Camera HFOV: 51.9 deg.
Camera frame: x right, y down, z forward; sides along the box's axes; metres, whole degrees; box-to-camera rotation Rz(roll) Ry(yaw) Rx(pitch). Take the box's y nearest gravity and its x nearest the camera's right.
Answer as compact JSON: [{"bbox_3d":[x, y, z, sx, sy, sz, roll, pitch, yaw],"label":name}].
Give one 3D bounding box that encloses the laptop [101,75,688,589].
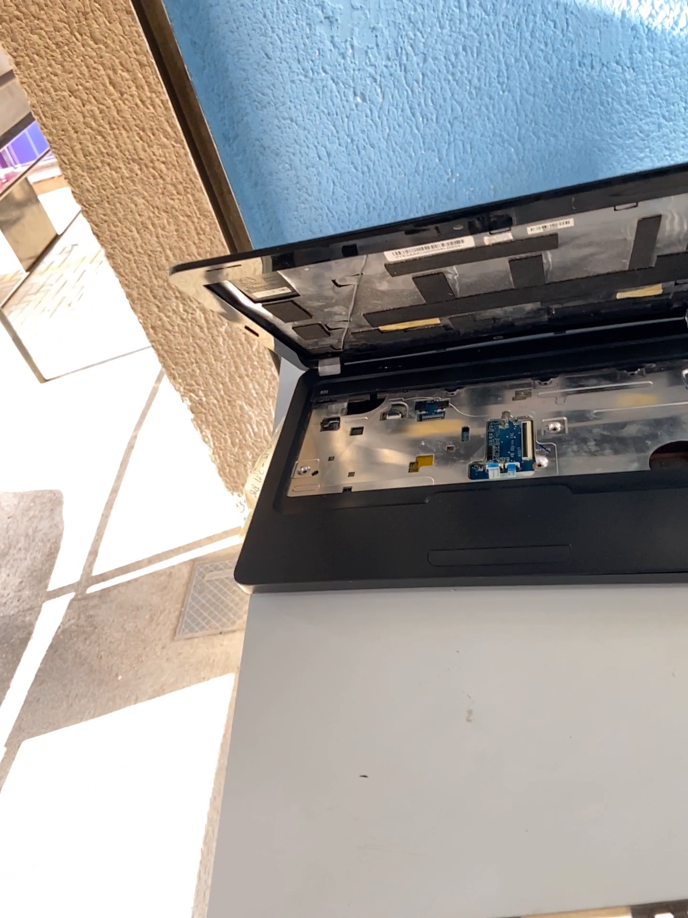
[{"bbox_3d":[0.078,-0.069,0.416,0.327,0.153,0.223,-5,41,17],"label":"laptop"}]
